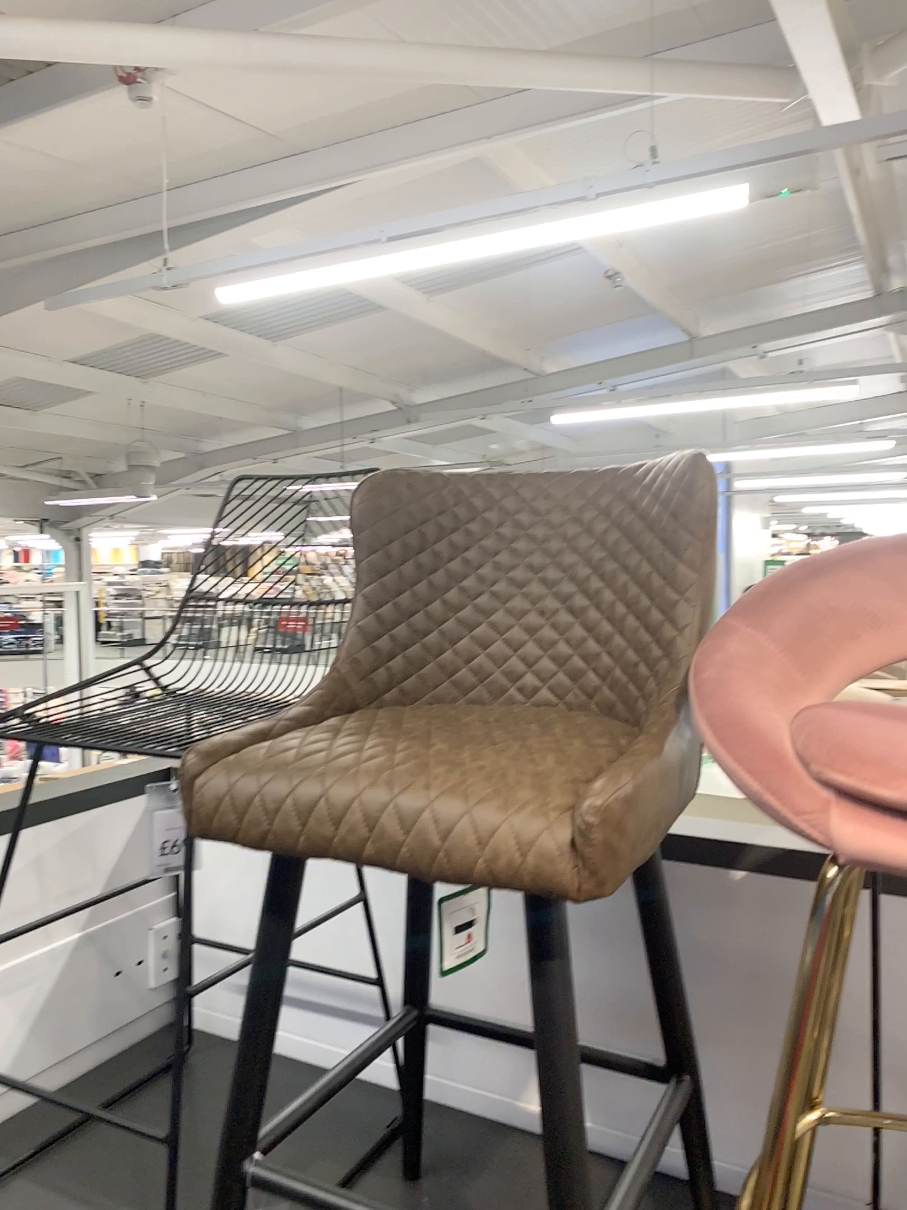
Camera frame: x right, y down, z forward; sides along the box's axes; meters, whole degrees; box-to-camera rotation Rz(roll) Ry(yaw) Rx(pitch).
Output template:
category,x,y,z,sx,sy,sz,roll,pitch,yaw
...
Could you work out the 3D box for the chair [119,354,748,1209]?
category,x,y,z,sx,sy,sz,roll,pitch,yaw
chair,0.028,0.284,1.041,0.535,0.995,0.466,0,5,22
